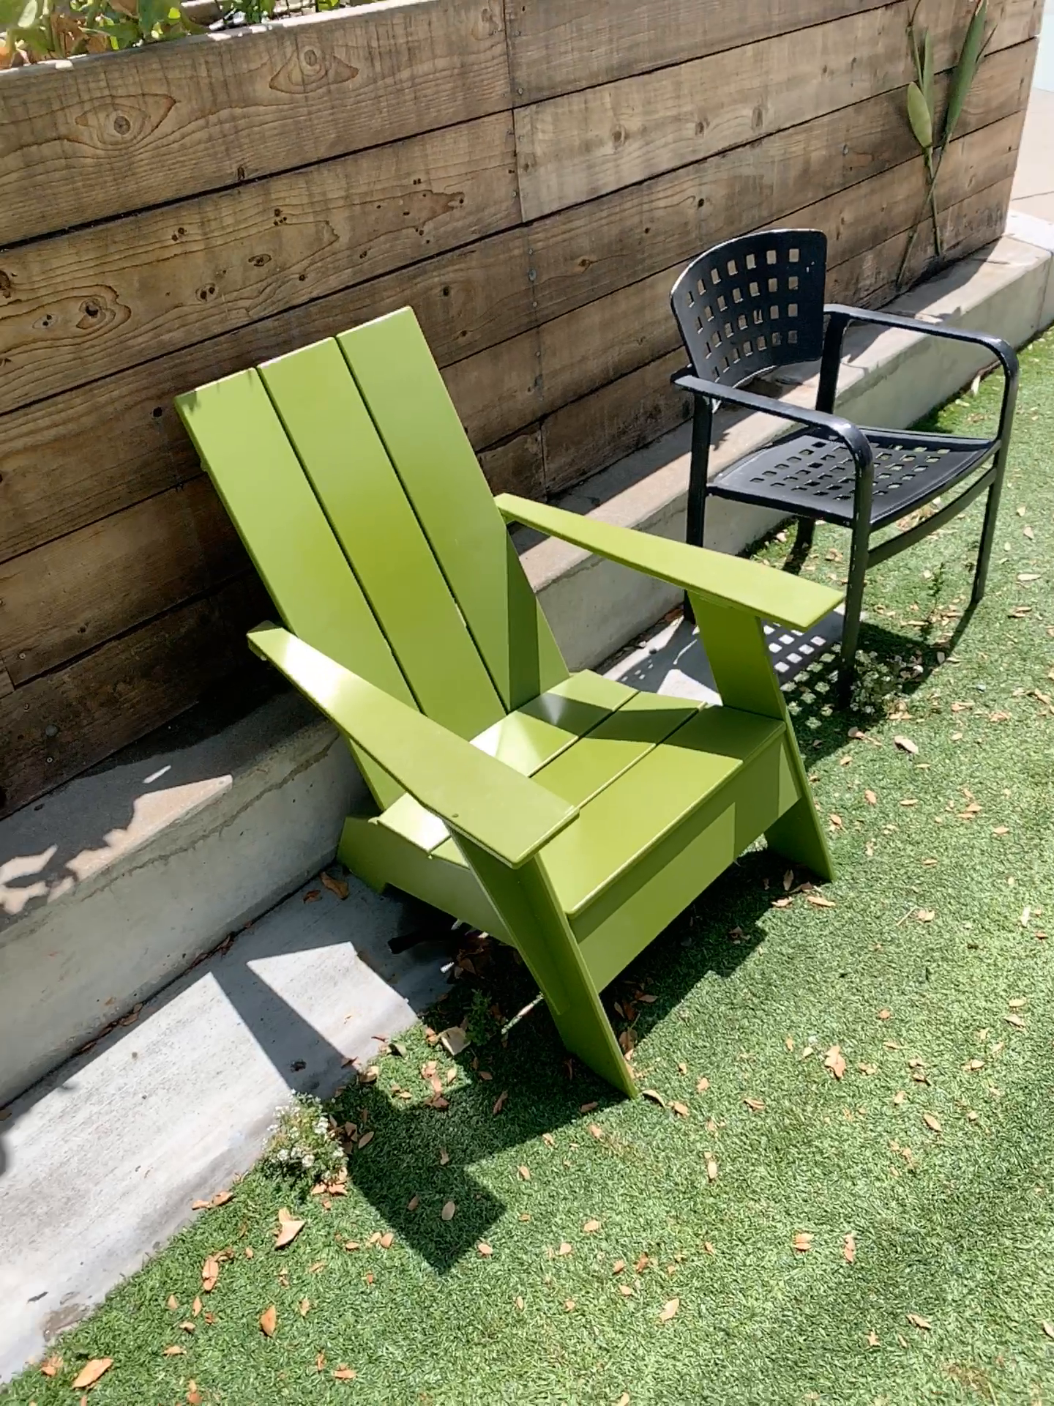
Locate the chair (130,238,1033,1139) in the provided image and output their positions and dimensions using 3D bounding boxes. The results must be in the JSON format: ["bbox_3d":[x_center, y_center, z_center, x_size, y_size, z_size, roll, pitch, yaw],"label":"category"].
[{"bbox_3d":[0.065,-0.105,1.632,0.721,0.845,0.904,-34,46,-32],"label":"chair"}]
